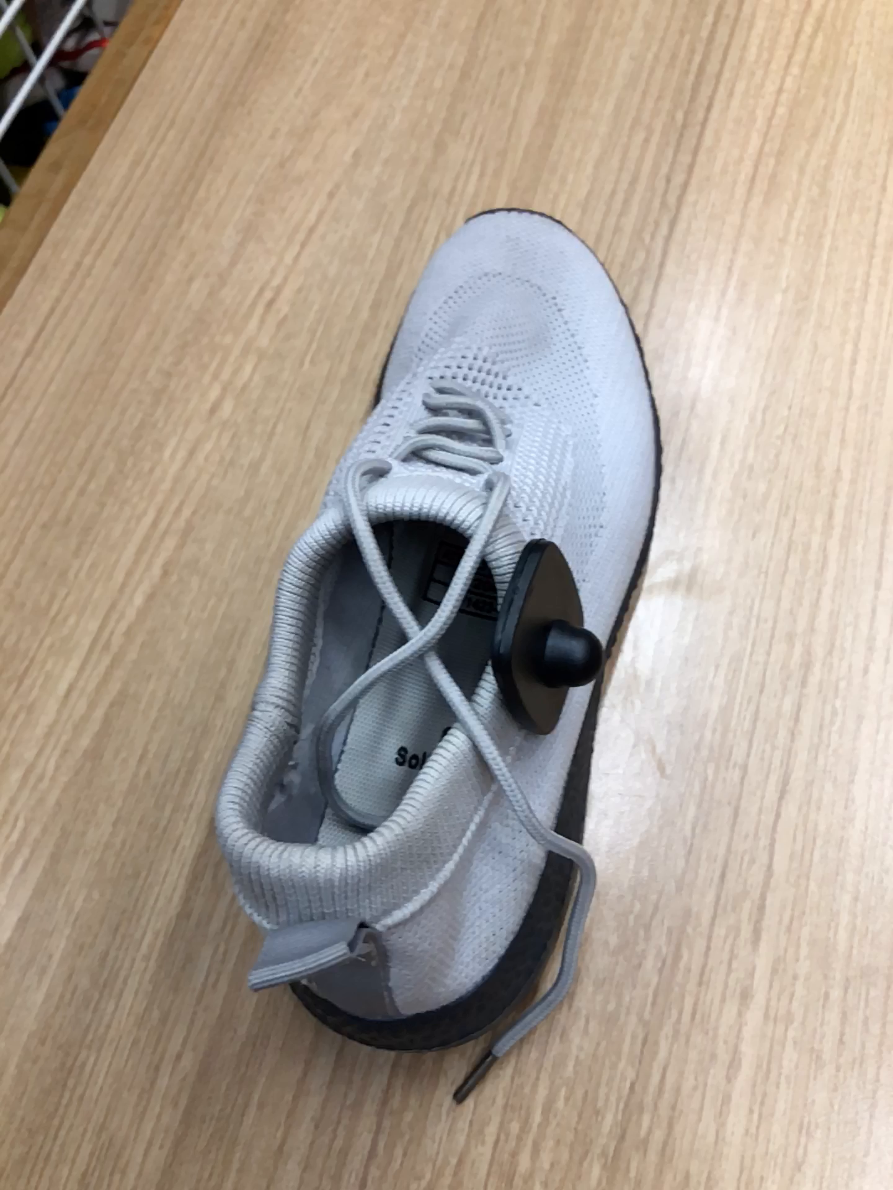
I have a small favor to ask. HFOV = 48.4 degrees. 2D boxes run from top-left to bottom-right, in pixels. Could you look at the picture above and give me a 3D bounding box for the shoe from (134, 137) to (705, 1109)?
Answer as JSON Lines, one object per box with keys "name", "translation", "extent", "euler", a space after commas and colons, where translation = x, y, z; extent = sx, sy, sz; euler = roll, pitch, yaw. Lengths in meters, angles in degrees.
{"name": "shoe", "translation": [0.012, -0.003, 0.310], "extent": [0.100, 0.100, 0.271], "euler": [7, 66, 11]}
